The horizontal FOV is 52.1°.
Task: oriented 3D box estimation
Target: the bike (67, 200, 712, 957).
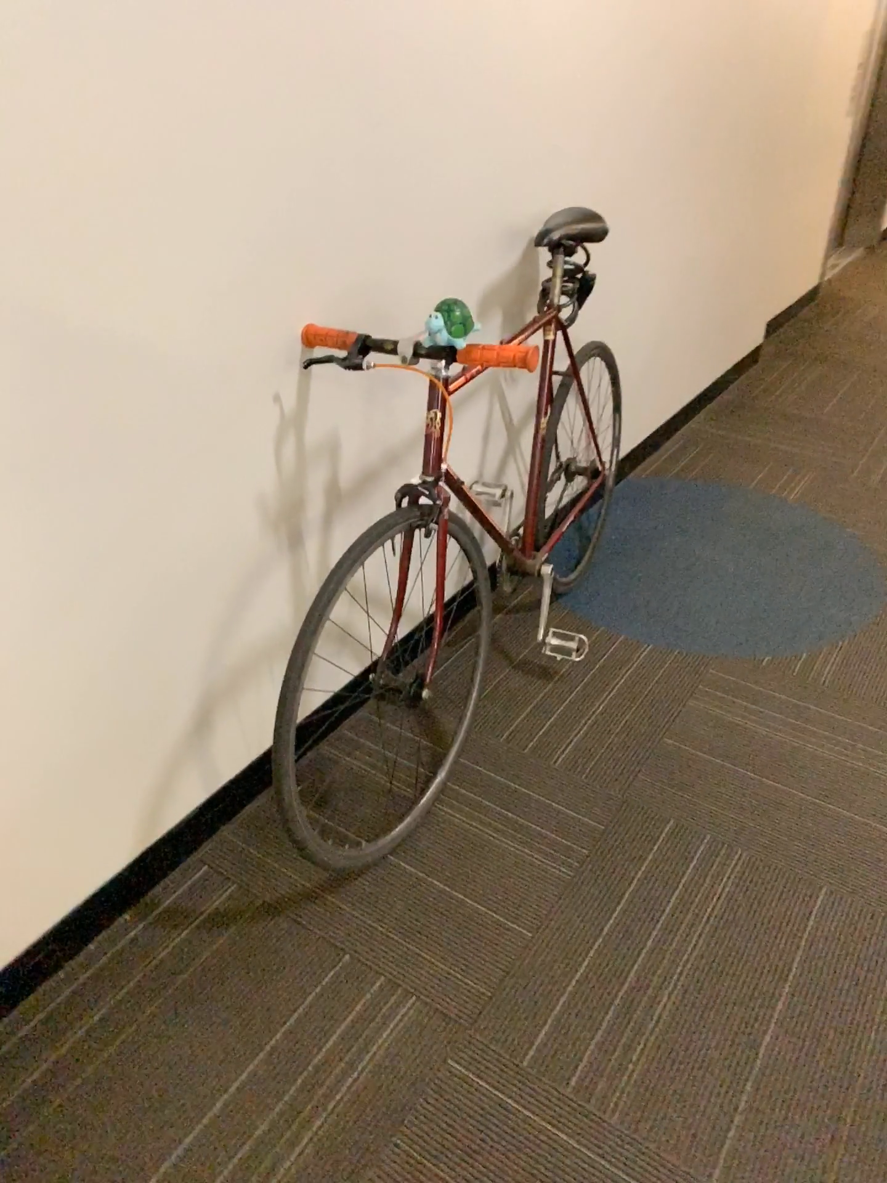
[{"bbox_3d":[0.084,-0.218,1.951,0.449,0.909,1.633,16,35,22],"label":"bike"}]
